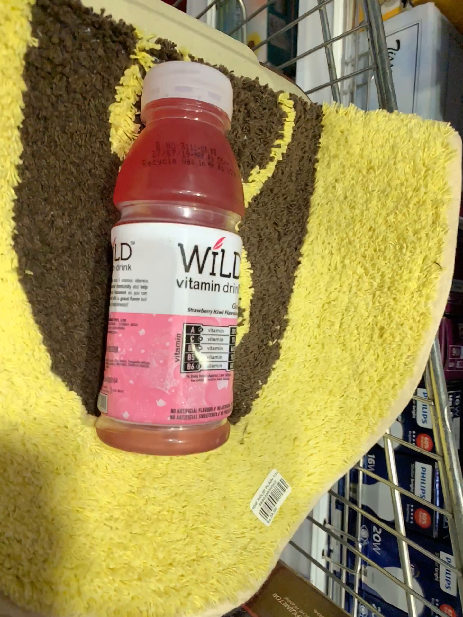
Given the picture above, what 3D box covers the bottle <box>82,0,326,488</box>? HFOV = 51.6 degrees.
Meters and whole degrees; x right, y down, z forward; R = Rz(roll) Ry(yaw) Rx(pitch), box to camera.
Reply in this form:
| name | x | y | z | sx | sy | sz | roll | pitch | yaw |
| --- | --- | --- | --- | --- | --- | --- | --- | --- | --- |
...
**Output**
| name | x | y | z | sx | sy | sz | roll | pitch | yaw |
| --- | --- | --- | --- | --- | --- | --- | --- | --- | --- |
| bottle | -0.013 | -0.020 | 0.193 | 0.060 | 0.050 | 0.160 | 3 | 97 | -39 |
